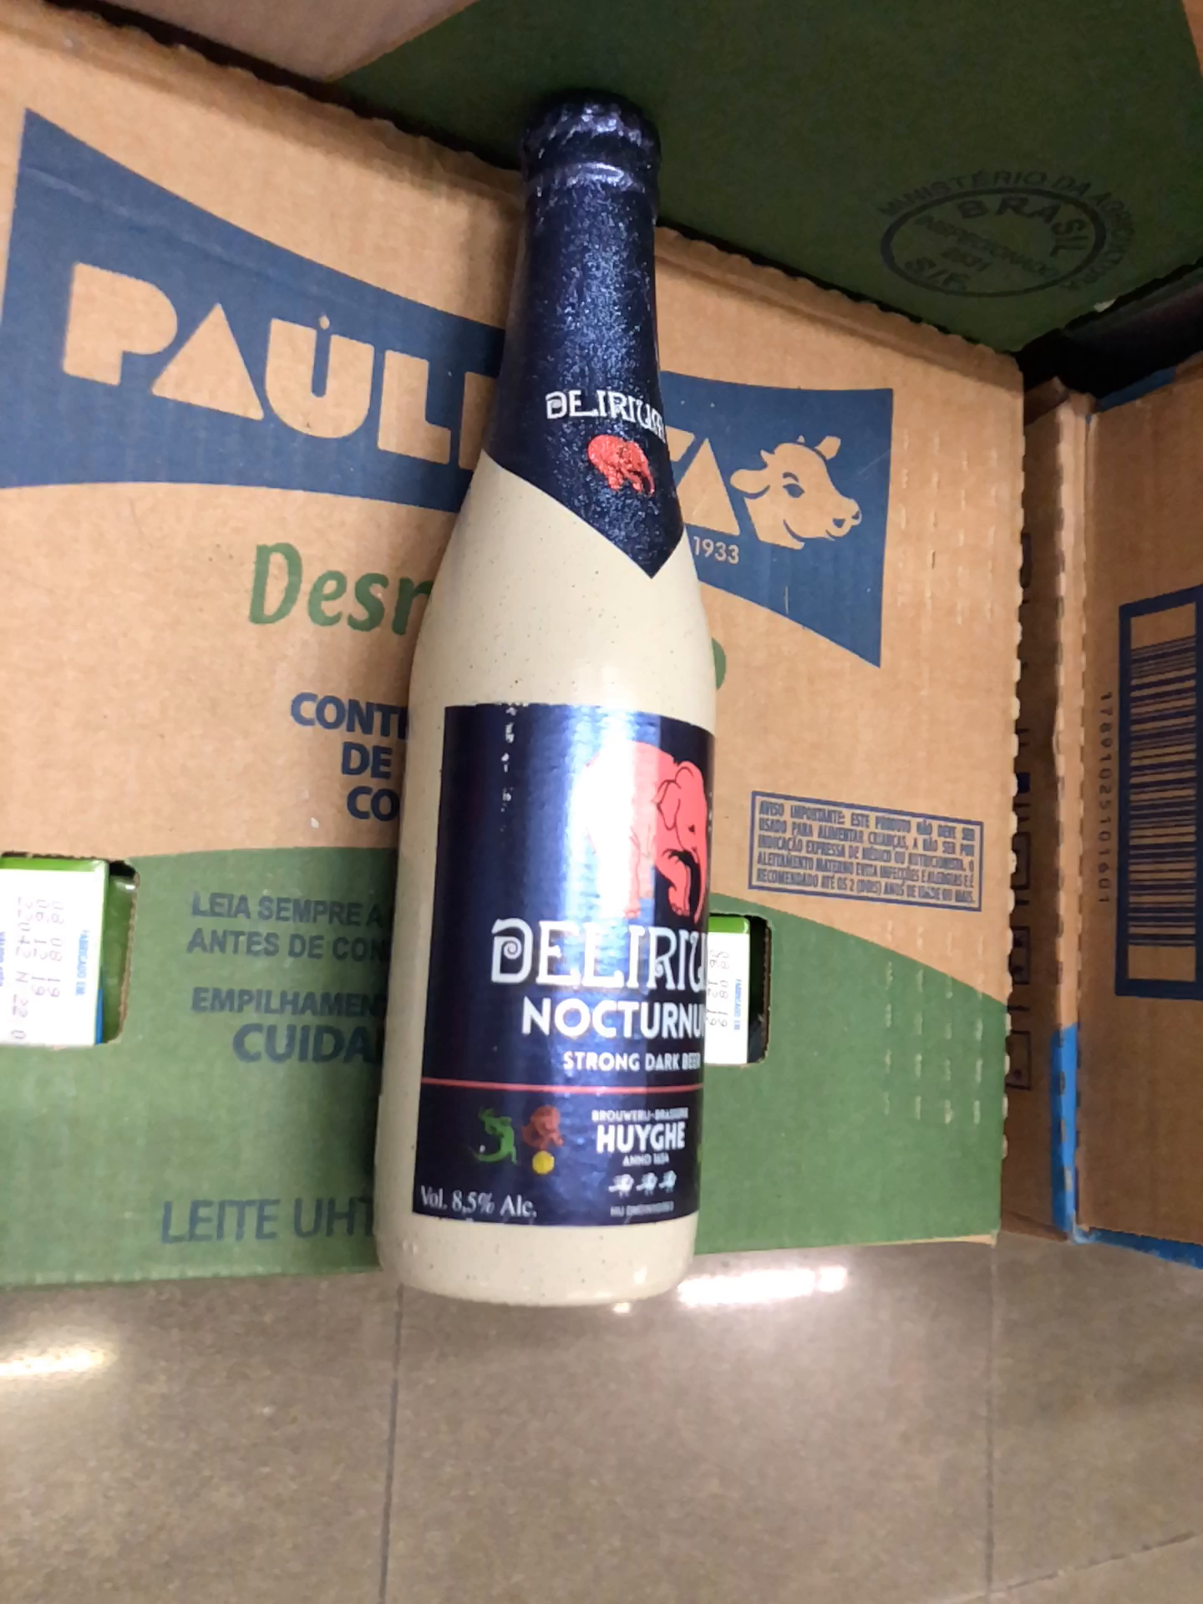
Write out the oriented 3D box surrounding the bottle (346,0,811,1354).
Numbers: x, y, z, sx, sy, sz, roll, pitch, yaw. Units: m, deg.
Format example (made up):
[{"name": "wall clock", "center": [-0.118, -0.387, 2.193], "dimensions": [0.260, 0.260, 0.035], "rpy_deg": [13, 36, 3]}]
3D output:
[{"name": "bottle", "center": [-0.002, -0.038, 0.248], "dimensions": [0.060, 0.050, 0.250], "rpy_deg": [7, 80, -29]}]
